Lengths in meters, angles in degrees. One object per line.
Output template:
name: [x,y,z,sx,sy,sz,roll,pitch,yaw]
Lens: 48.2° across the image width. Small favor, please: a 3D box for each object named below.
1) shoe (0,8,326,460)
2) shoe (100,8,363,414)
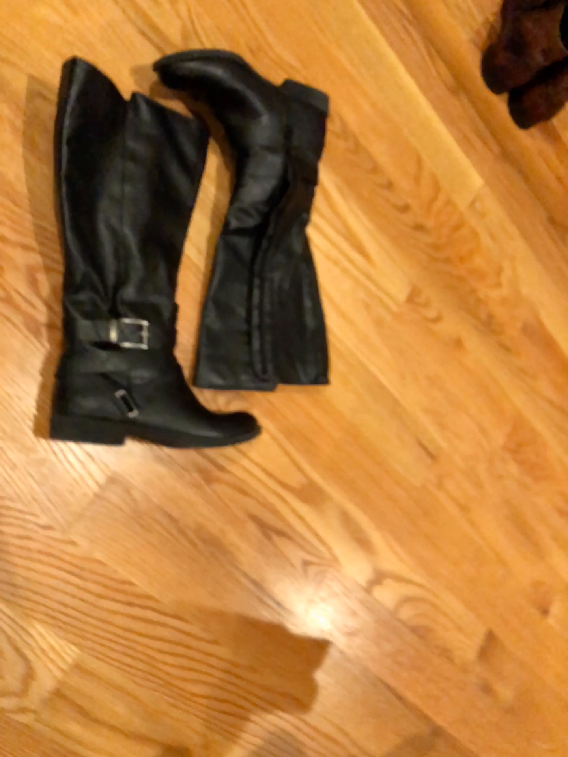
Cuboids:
shoe: [-0.118,-0.127,0.695,0.291,0.104,0.403,10,82,-32]
shoe: [-0.050,-0.172,0.743,0.251,0.094,0.393,11,80,-32]
